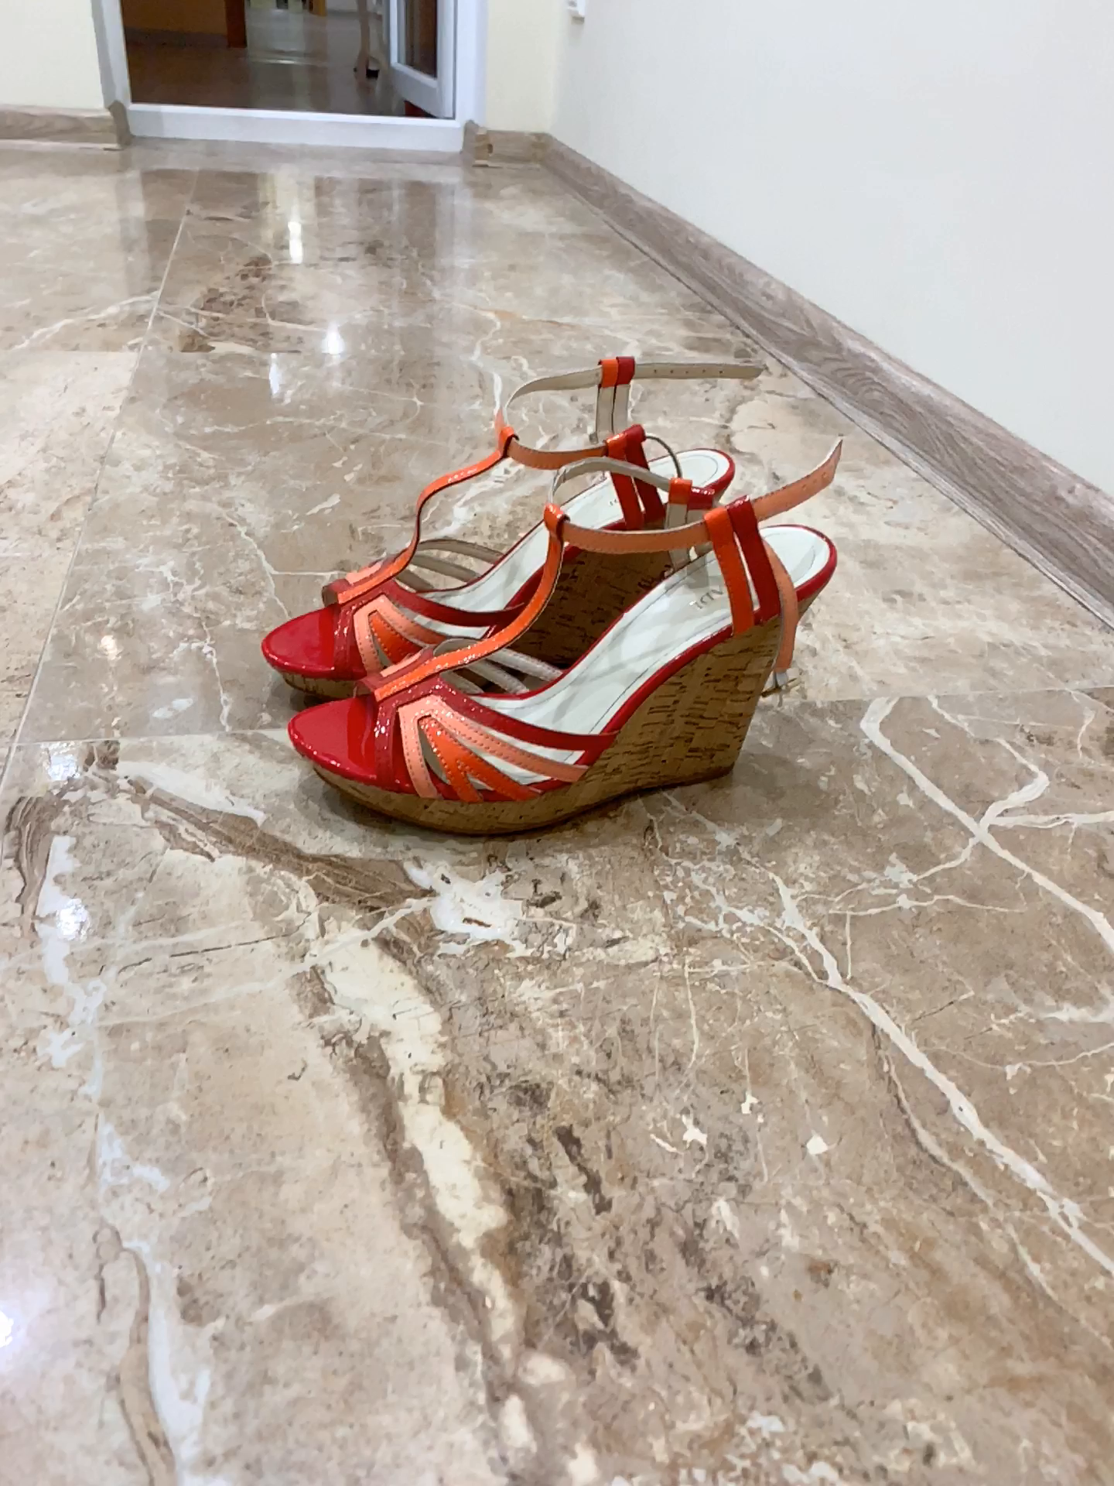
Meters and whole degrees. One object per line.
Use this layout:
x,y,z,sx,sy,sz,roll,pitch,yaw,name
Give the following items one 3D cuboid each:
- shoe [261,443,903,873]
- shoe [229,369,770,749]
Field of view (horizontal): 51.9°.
0.003,-0.037,0.447,0.217,0.129,0.080,-5,35,-14,shoe
-0.031,-0.088,0.525,0.217,0.139,0.084,-5,35,-14,shoe
